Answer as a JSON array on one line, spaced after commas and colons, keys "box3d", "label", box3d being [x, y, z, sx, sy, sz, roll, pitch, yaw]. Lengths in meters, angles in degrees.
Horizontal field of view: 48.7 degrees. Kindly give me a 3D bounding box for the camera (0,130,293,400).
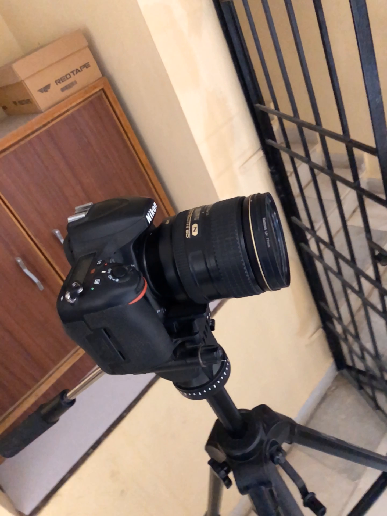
[{"box3d": [-0.019, 0.003, 0.348, 0.171, 0.105, 0.171, -13, 34, 21], "label": "camera"}]
